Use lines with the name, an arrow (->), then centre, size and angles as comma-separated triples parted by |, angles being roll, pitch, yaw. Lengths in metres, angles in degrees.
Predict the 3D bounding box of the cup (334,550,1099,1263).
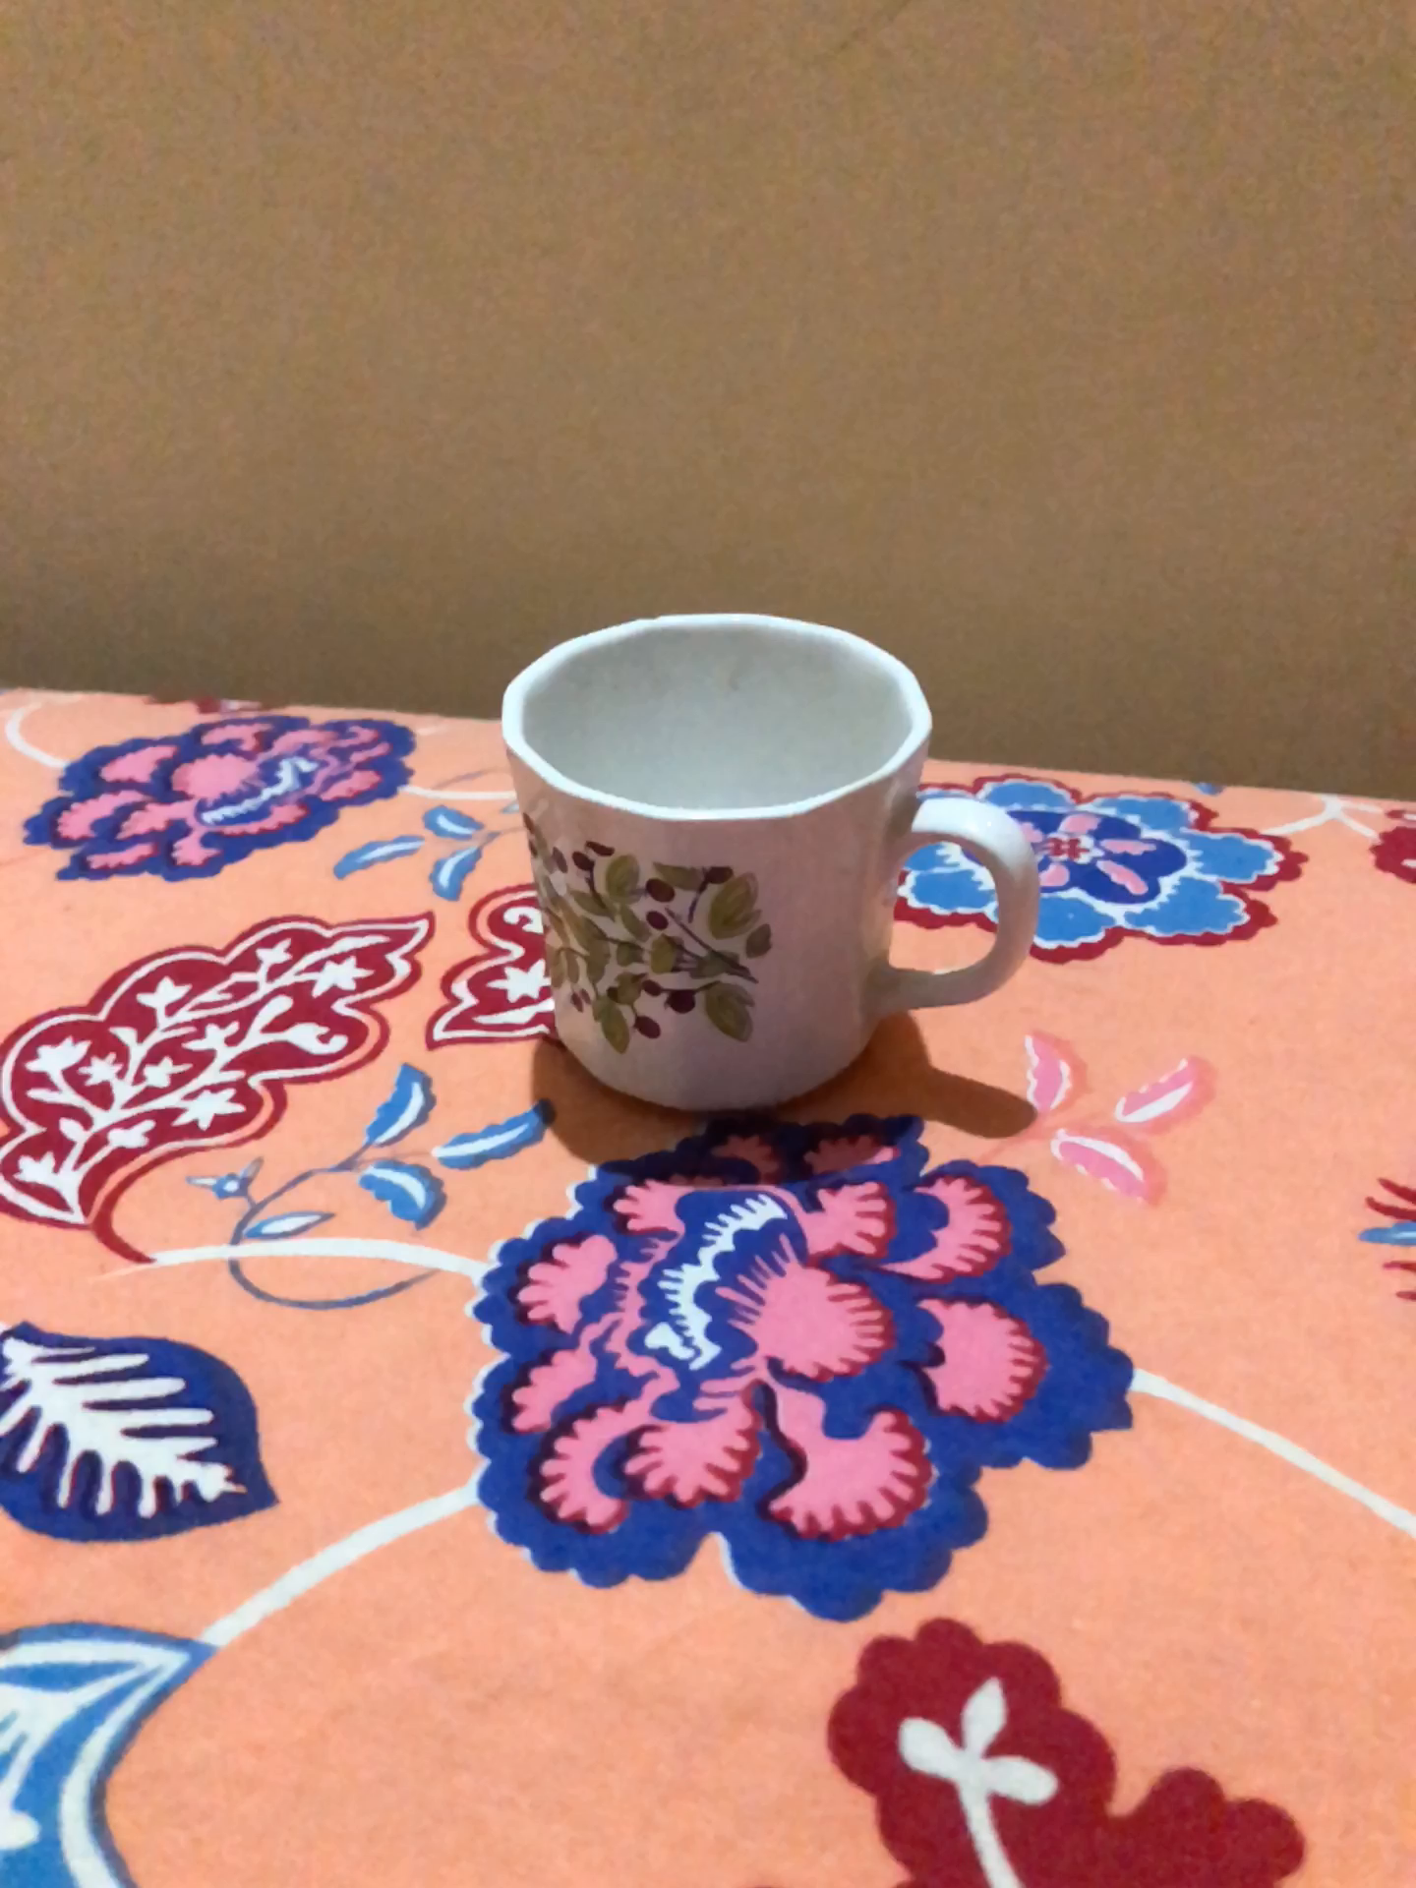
cup -> 0.004, -0.011, 0.242 | 0.090, 0.070, 0.060 | 16, 40, 27
